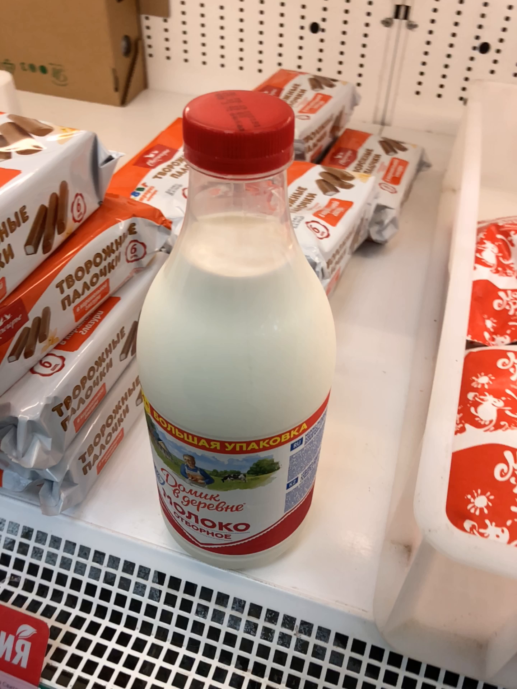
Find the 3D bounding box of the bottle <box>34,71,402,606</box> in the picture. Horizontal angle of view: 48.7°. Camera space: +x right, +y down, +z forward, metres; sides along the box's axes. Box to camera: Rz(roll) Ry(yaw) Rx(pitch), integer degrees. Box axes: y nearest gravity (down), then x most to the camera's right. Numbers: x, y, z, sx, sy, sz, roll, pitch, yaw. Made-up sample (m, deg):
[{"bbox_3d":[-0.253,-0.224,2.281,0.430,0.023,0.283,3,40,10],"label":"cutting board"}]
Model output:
[{"bbox_3d":[-0.010,0.015,0.290,0.100,0.249,0.101,1,43,-1],"label":"bottle"}]
